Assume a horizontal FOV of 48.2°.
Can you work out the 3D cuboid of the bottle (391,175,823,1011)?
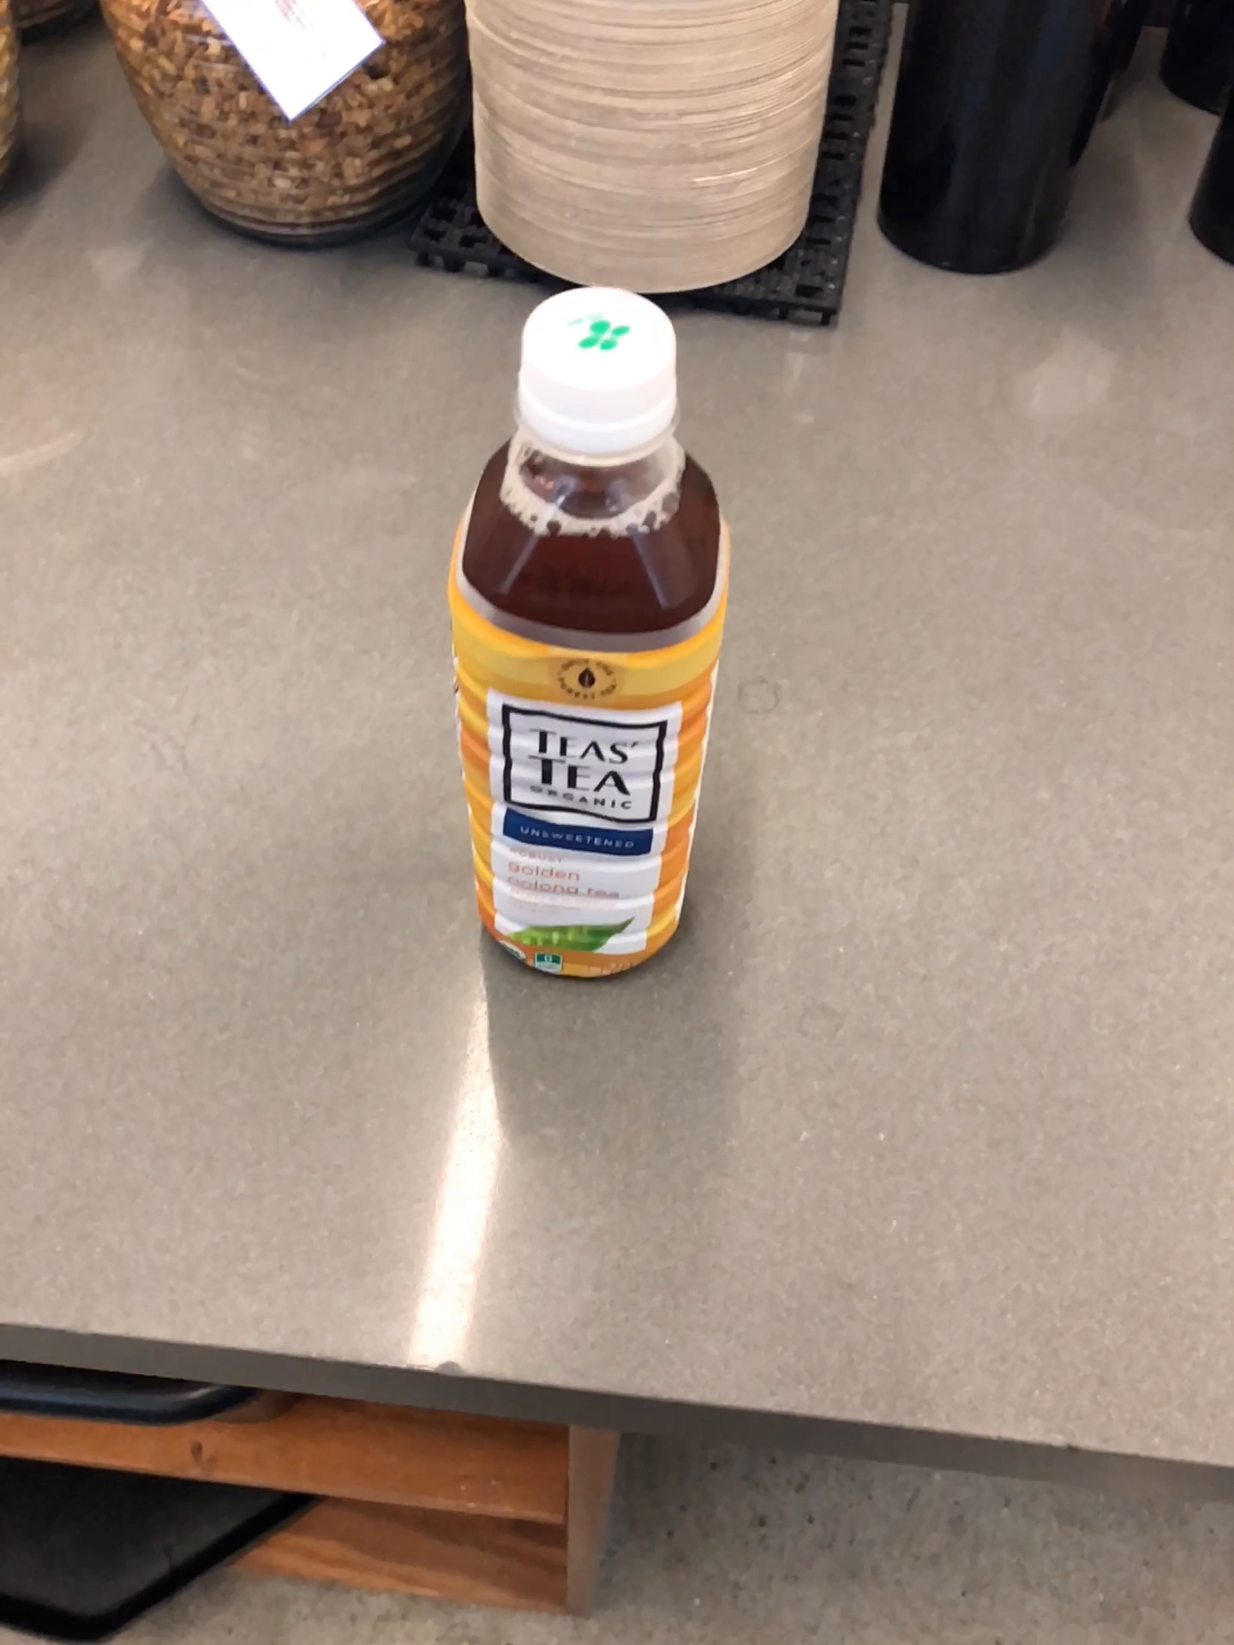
[{"bbox_3d":[-0.004,-0.036,0.324,0.070,0.199,0.070,1,54,-2],"label":"bottle"}]
